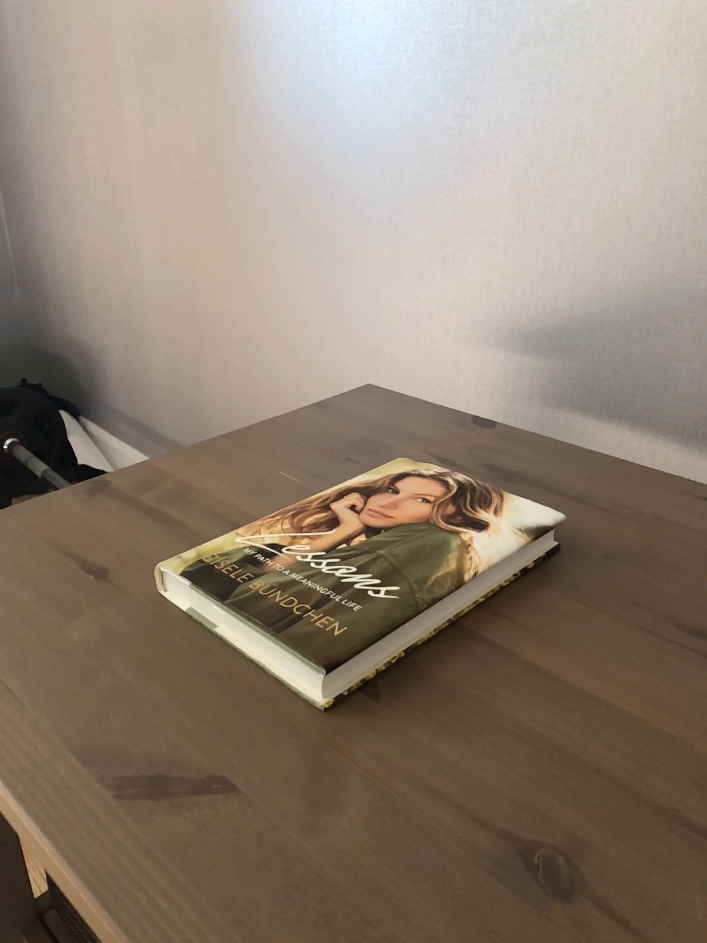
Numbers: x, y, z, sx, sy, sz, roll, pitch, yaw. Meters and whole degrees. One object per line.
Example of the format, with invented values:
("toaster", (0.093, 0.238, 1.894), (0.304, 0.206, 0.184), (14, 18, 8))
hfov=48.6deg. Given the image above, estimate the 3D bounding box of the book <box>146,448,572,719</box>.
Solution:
("book", (0.010, 0.052, 0.508), (0.160, 0.030, 0.228), (22, 32, 39))
